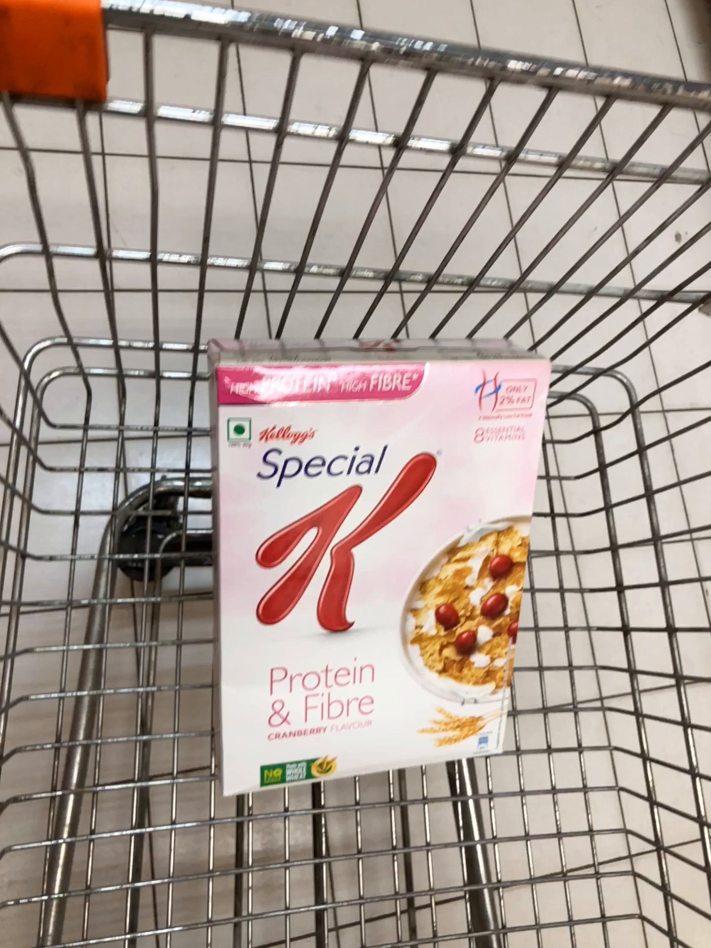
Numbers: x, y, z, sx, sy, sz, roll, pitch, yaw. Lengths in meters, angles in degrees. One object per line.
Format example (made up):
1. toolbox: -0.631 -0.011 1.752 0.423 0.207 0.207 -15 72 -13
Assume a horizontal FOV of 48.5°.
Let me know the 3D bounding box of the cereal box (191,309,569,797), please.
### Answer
1. cereal box: 0.001 0.043 0.490 0.190 0.100 0.269 -3 113 -17
